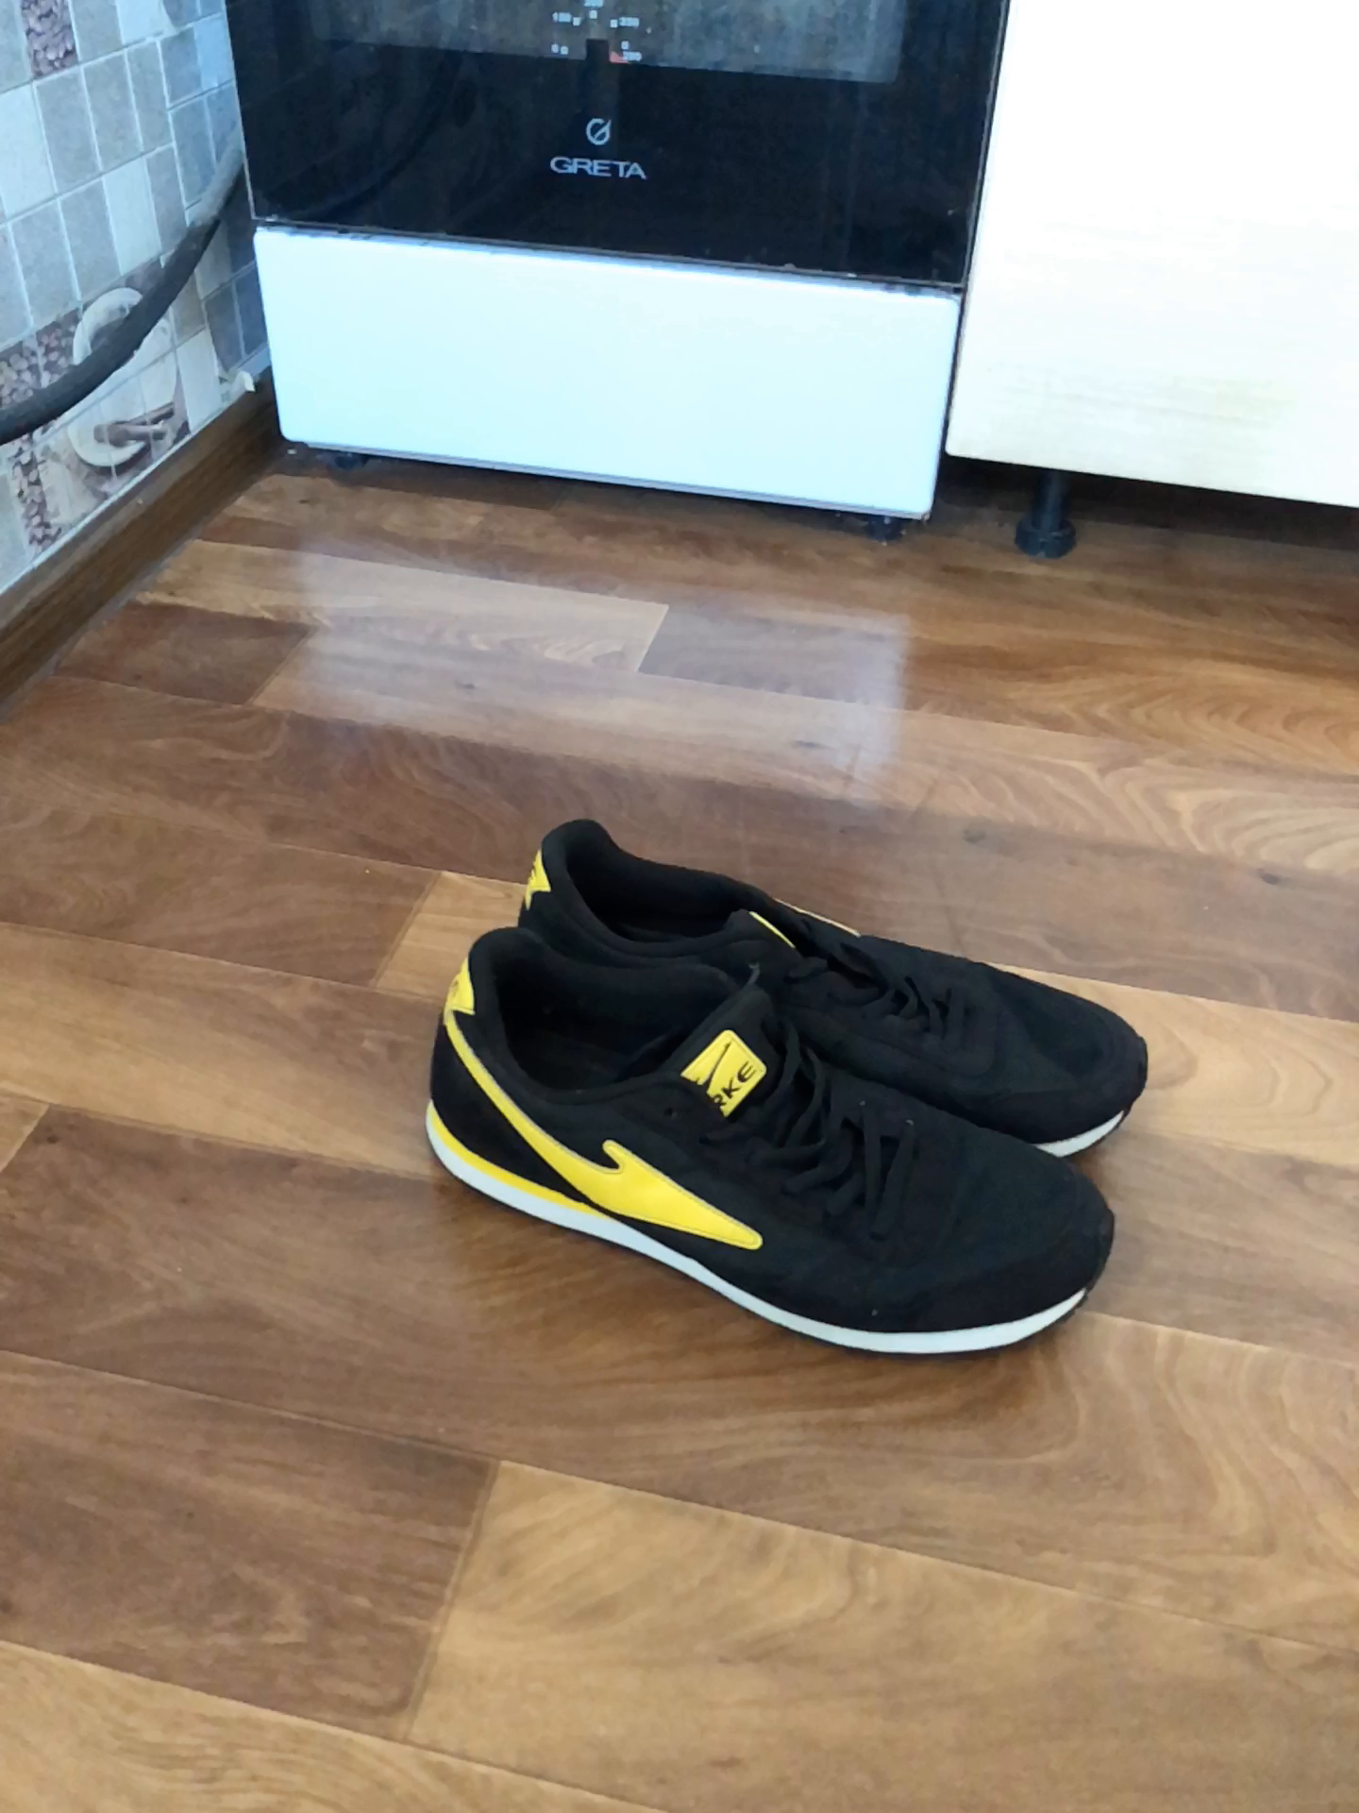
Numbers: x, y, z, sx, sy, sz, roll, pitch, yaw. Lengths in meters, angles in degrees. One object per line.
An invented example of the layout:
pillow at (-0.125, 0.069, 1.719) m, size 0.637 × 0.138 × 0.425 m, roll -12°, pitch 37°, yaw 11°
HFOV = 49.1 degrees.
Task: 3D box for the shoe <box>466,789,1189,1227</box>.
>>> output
shoe at (0.066, 0.039, 0.679) m, size 0.300 × 0.079 × 0.111 m, roll 13°, pitch 40°, yaw 12°

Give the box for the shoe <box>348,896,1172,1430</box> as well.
shoe at (0.031, 0.094, 0.601) m, size 0.300 × 0.079 × 0.111 m, roll 14°, pitch 41°, yaw 14°
